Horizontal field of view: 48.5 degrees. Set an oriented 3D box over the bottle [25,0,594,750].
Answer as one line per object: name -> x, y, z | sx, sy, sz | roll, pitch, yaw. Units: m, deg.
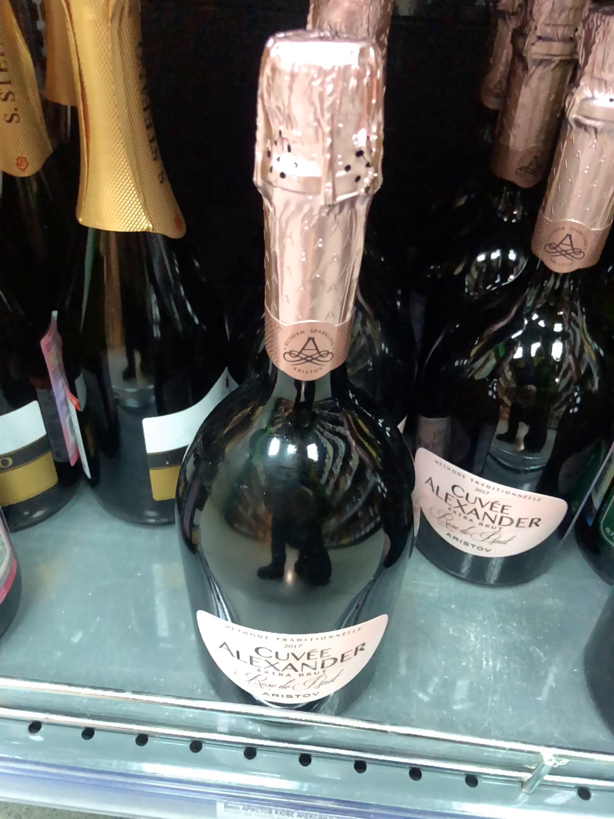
bottle -> -0.005, 0.015, 0.255 | 0.110, 0.278, 0.091 | 2, 39, -1
